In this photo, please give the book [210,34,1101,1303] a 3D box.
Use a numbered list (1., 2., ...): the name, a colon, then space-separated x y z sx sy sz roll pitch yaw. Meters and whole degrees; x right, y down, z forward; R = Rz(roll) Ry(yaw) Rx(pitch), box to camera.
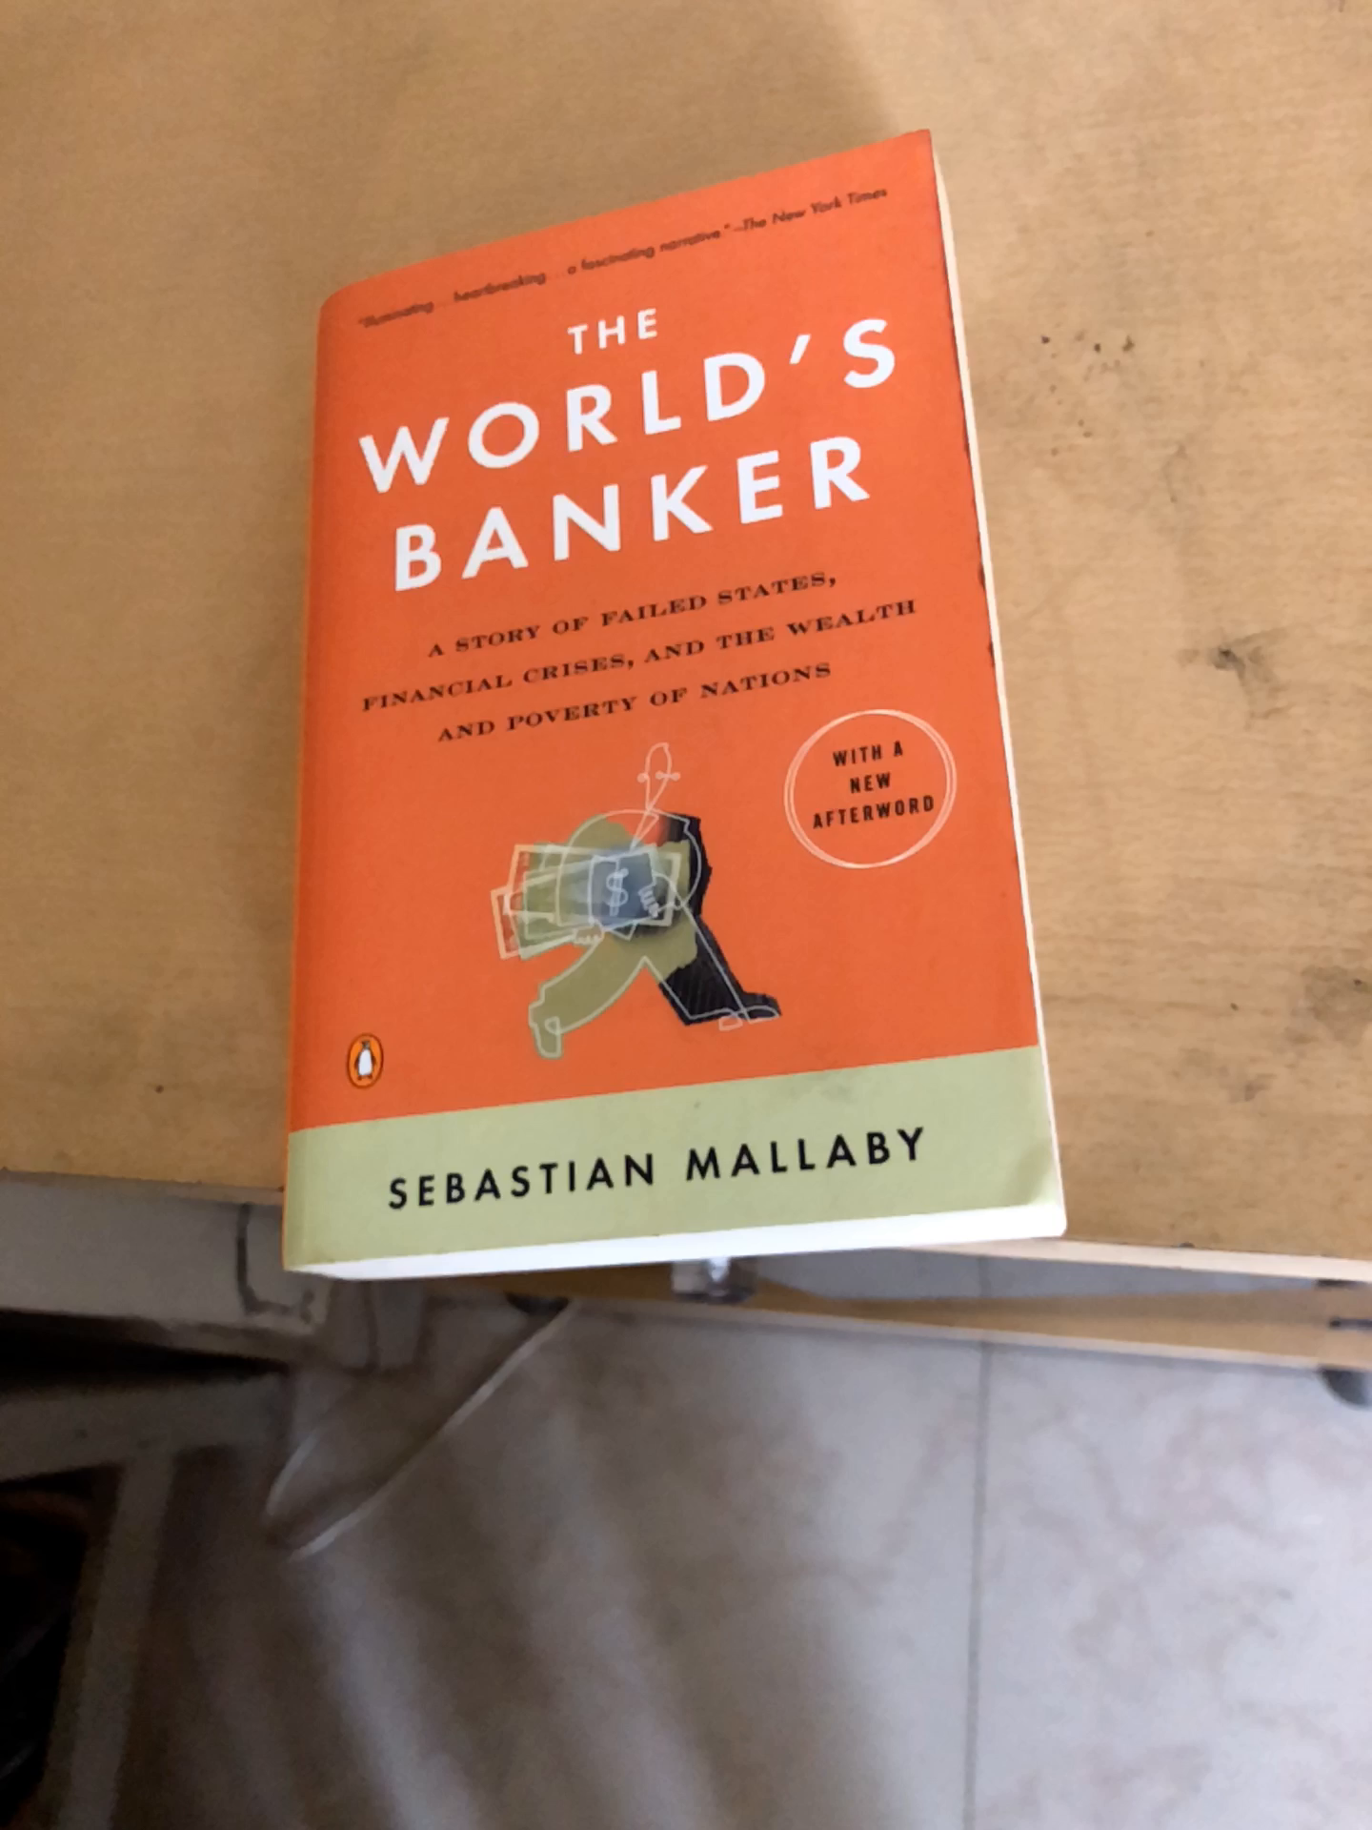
1. book: -0.009 -0.047 0.281 0.140 0.030 0.220 -7 71 15
